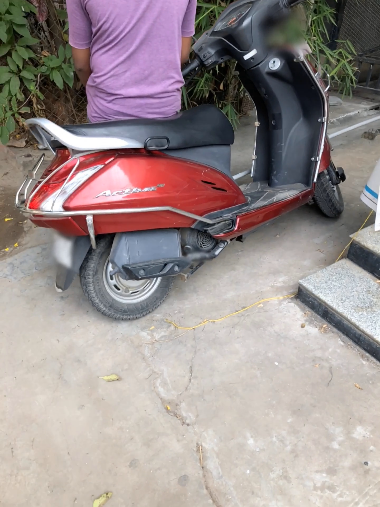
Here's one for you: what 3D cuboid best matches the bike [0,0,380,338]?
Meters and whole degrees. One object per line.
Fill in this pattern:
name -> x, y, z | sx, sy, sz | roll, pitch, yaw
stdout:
bike -> 0.098, -0.561, 1.780 | 1.484, 1.056, 0.573 | -29, 44, -32
